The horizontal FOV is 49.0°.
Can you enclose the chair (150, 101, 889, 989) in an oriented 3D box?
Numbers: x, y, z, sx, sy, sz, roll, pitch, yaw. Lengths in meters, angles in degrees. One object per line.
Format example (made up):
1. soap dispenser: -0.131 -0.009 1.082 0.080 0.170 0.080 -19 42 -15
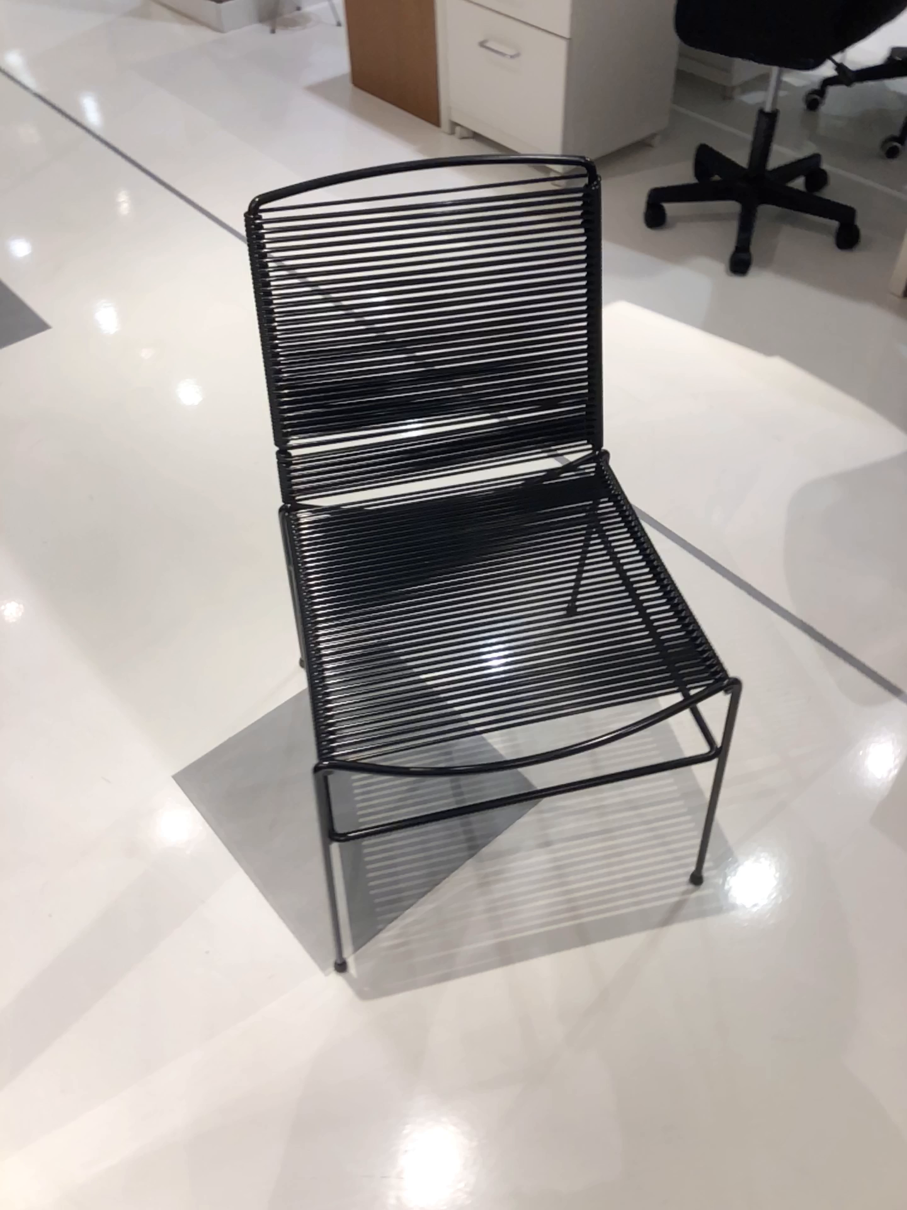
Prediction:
1. chair: 0.012 -0.042 1.187 0.520 0.794 0.584 -11 49 -8
